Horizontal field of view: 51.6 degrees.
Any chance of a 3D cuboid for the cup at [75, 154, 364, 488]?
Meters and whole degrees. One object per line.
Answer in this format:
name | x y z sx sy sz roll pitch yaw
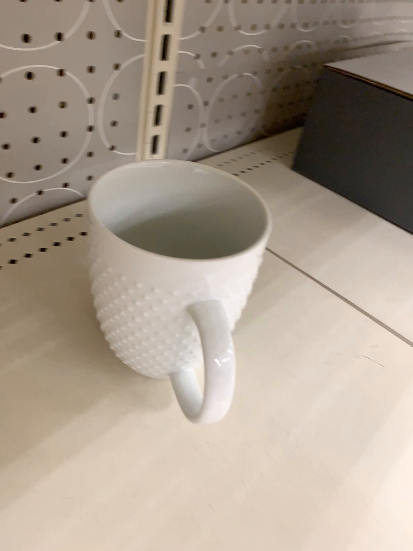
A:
cup | -0.011 0.015 0.242 0.093 0.105 0.138 -9 46 -24
